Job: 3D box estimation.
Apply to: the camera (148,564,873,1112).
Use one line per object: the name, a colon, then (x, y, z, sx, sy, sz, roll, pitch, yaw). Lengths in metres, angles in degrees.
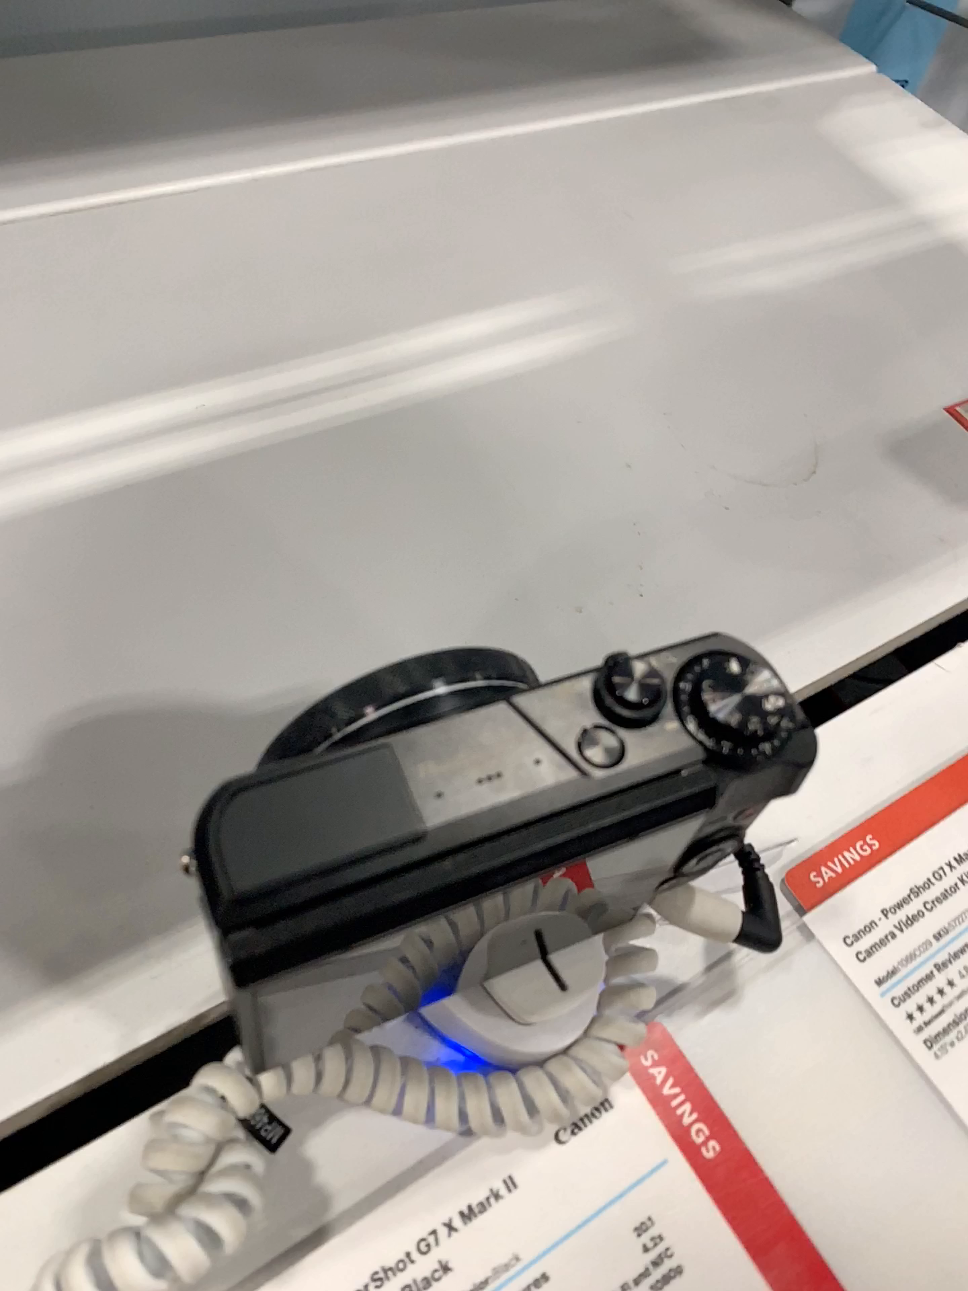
camera: (0.003, 0.033, 0.183, 0.110, 0.060, 0.044, -17, 60, -23)
